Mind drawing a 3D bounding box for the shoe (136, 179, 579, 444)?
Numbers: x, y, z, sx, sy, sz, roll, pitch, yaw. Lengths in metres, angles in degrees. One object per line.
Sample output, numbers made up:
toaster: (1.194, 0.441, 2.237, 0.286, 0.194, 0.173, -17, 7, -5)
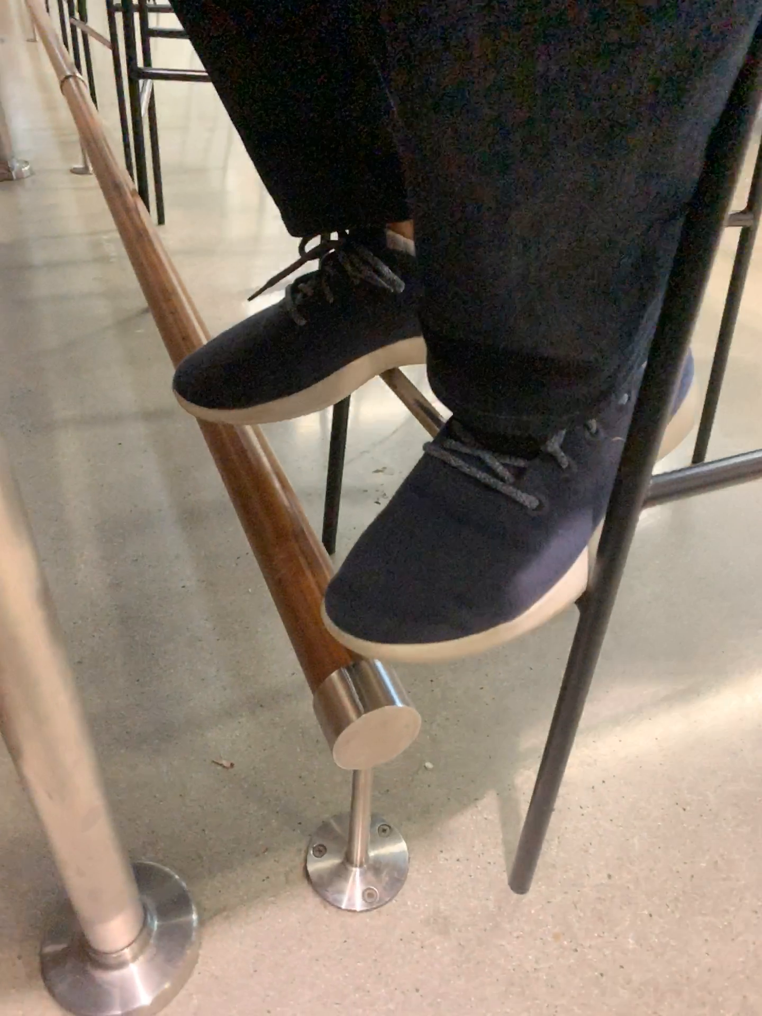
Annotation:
shoe: (-0.018, -0.156, 0.602, 0.300, 0.093, 0.129, -14, 35, -1)

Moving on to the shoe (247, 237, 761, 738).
shoe: (0.089, -0.034, 0.447, 0.124, 0.093, 0.300, 30, 58, 36)
